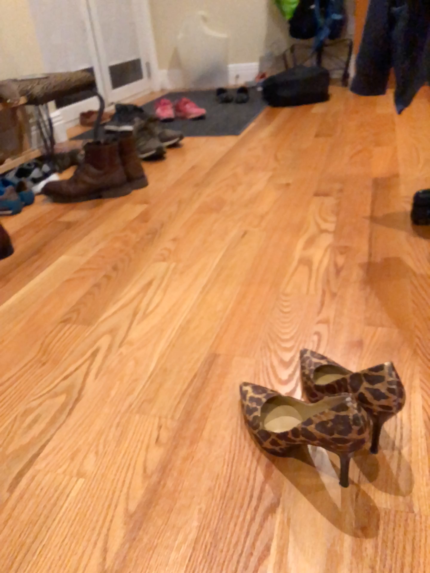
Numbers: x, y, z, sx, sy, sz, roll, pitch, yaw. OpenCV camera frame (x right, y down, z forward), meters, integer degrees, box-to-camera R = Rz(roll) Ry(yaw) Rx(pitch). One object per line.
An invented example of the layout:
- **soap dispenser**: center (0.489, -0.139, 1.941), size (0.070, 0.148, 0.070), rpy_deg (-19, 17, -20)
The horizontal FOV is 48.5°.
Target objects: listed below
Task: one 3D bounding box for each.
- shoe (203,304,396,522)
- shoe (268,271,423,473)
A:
- **shoe**: center (0.090, 0.136, 0.572), size (0.076, 0.136, 0.228), rpy_deg (-24, 33, -29)
- **shoe**: center (0.152, 0.095, 0.615), size (0.076, 0.135, 0.228), rpy_deg (-14, 30, -13)
